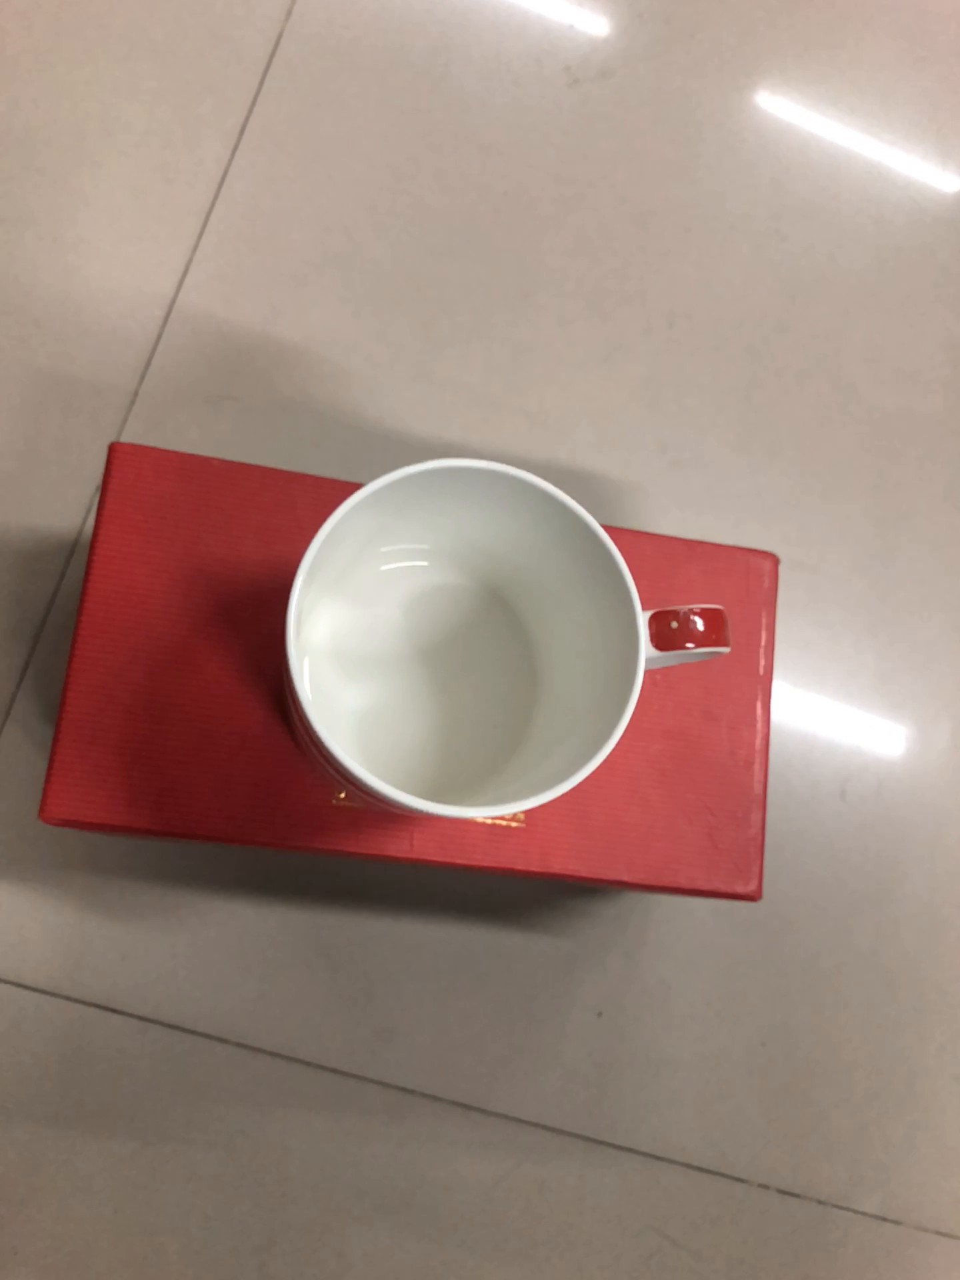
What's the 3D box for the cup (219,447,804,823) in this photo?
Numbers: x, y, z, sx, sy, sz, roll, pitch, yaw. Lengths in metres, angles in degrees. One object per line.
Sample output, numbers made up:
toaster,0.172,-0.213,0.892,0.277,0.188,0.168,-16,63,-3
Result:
cup,0.000,0.007,0.288,0.130,0.100,0.080,1,80,-12
